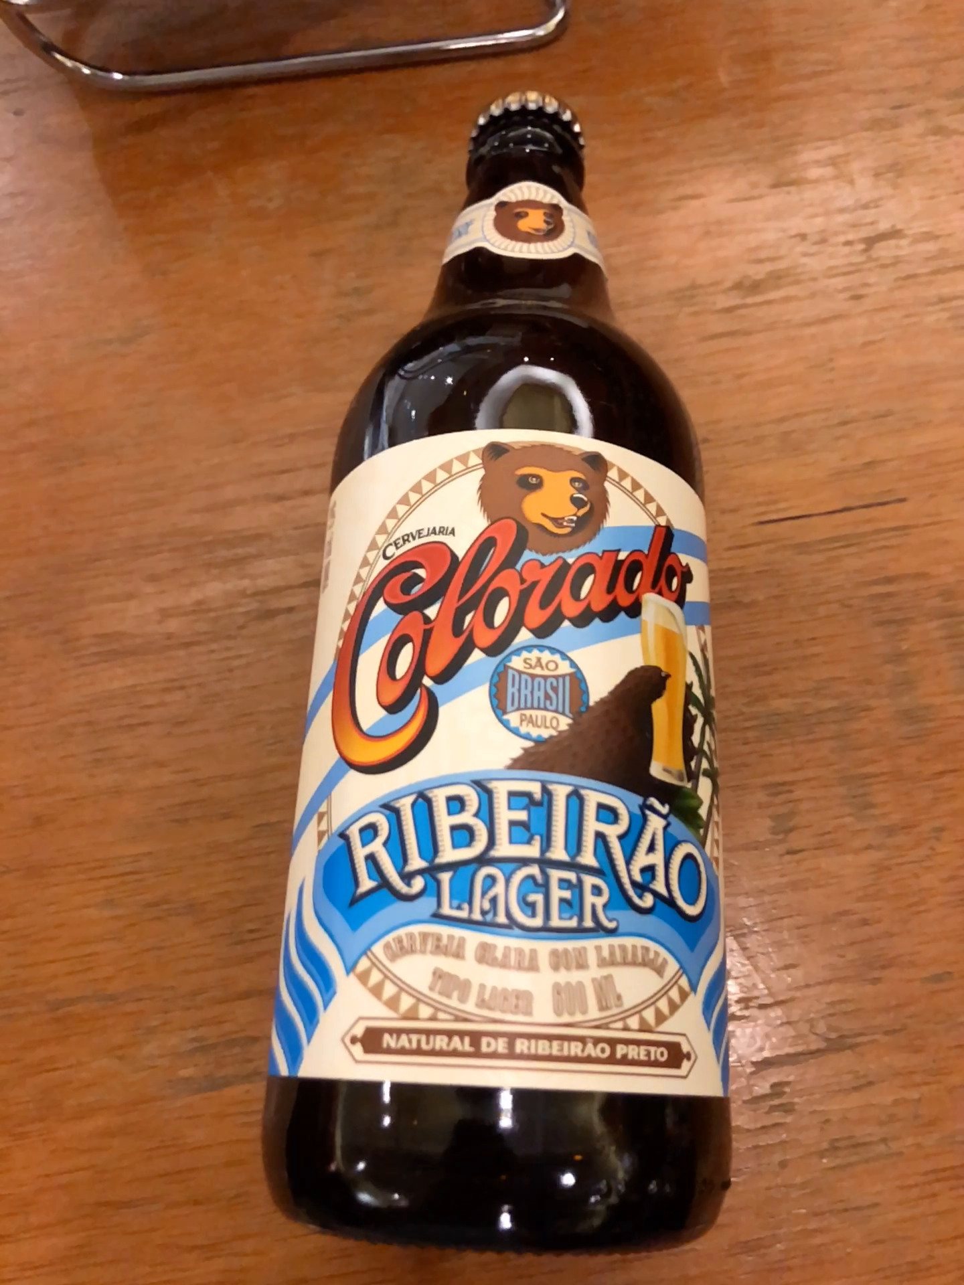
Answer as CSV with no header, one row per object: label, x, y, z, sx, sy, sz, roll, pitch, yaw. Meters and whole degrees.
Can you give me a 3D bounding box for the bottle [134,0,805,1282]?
bottle,0.004,-0.026,0.221,0.090,0.060,0.261,1,68,4
